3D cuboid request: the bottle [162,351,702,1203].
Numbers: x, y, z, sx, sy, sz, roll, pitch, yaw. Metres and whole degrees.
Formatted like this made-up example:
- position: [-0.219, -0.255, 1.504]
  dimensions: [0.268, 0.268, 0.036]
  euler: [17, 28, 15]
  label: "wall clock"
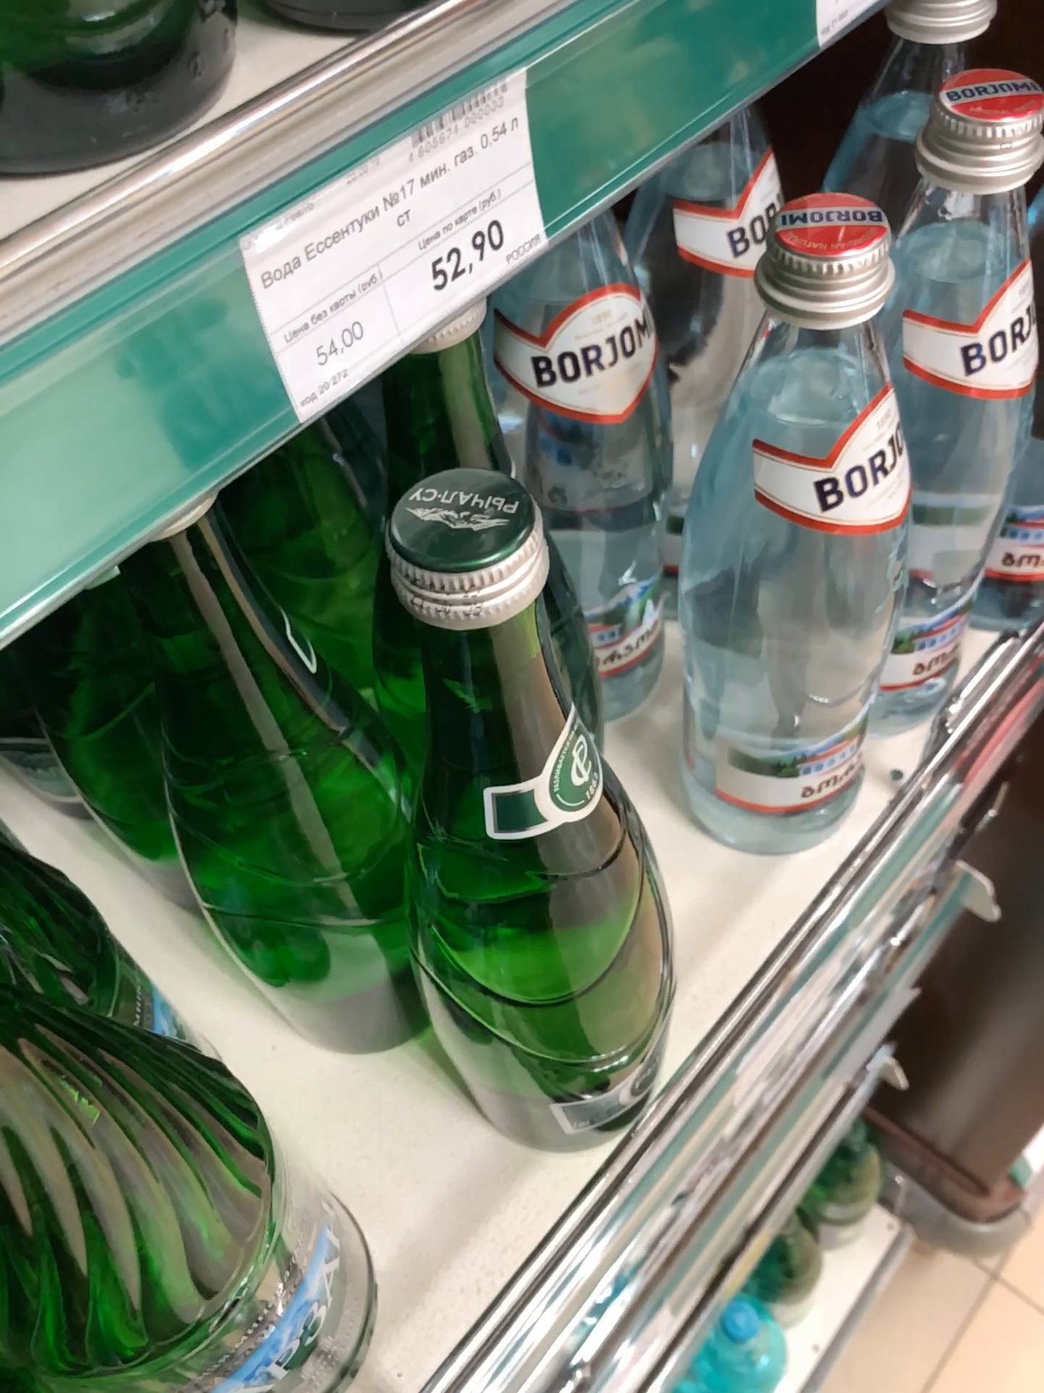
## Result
- position: [0.000, 0.047, 0.303]
  dimensions: [0.070, 0.259, 0.080]
  euler: [11, 55, 15]
  label: "bottle"
